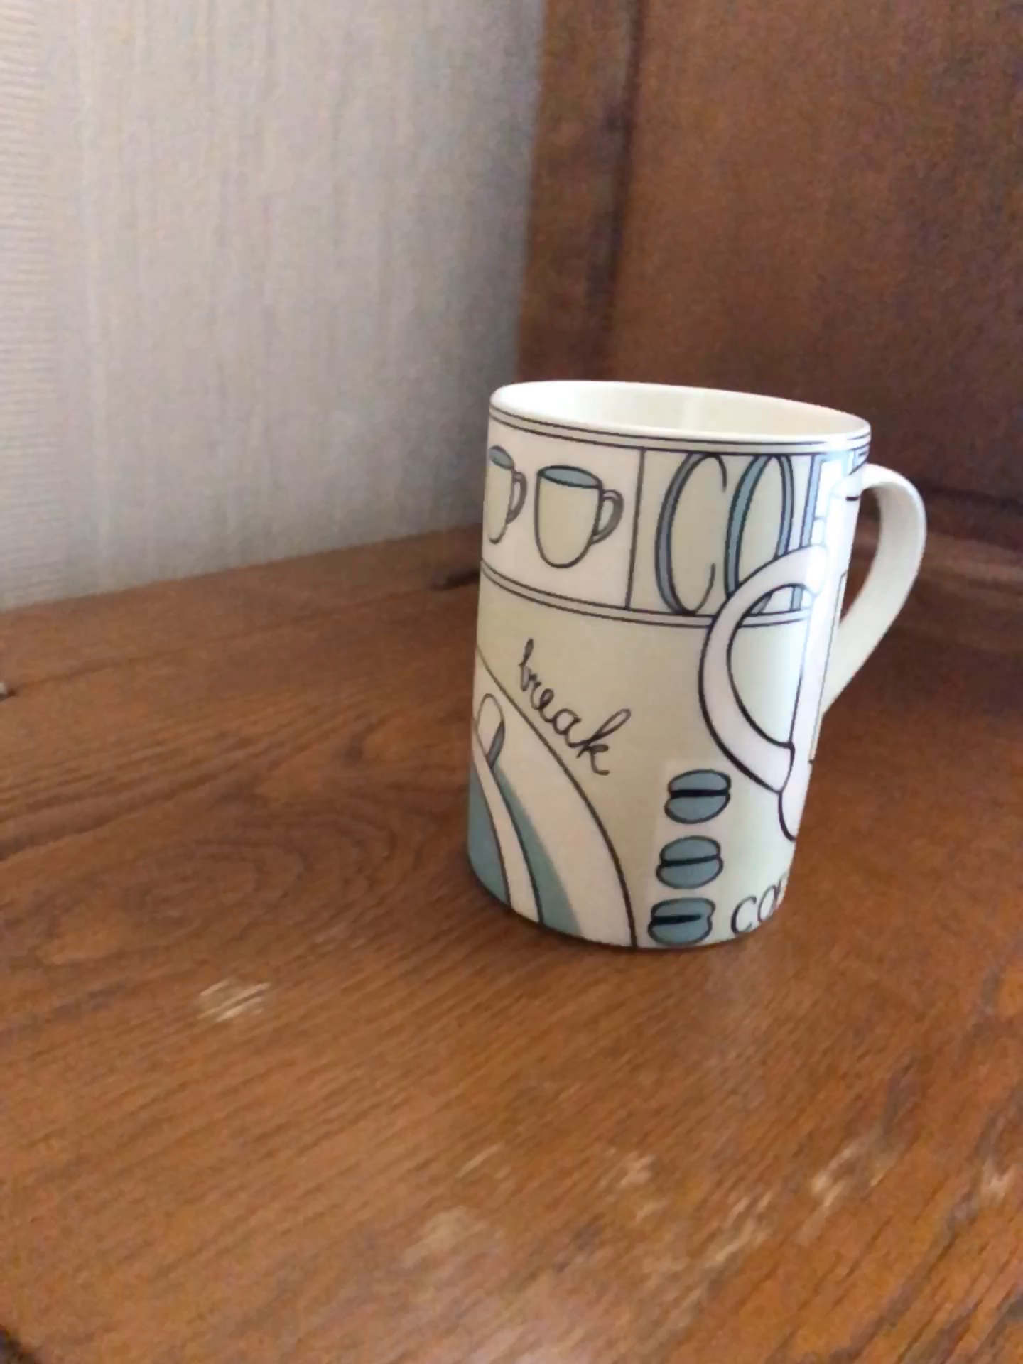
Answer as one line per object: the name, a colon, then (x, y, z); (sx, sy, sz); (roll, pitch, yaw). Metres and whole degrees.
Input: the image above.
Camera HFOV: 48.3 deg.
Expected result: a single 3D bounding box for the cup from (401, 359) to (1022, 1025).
cup: (0.051, -0.011, 0.239); (0.120, 0.100, 0.080); (-9, 24, -34)
